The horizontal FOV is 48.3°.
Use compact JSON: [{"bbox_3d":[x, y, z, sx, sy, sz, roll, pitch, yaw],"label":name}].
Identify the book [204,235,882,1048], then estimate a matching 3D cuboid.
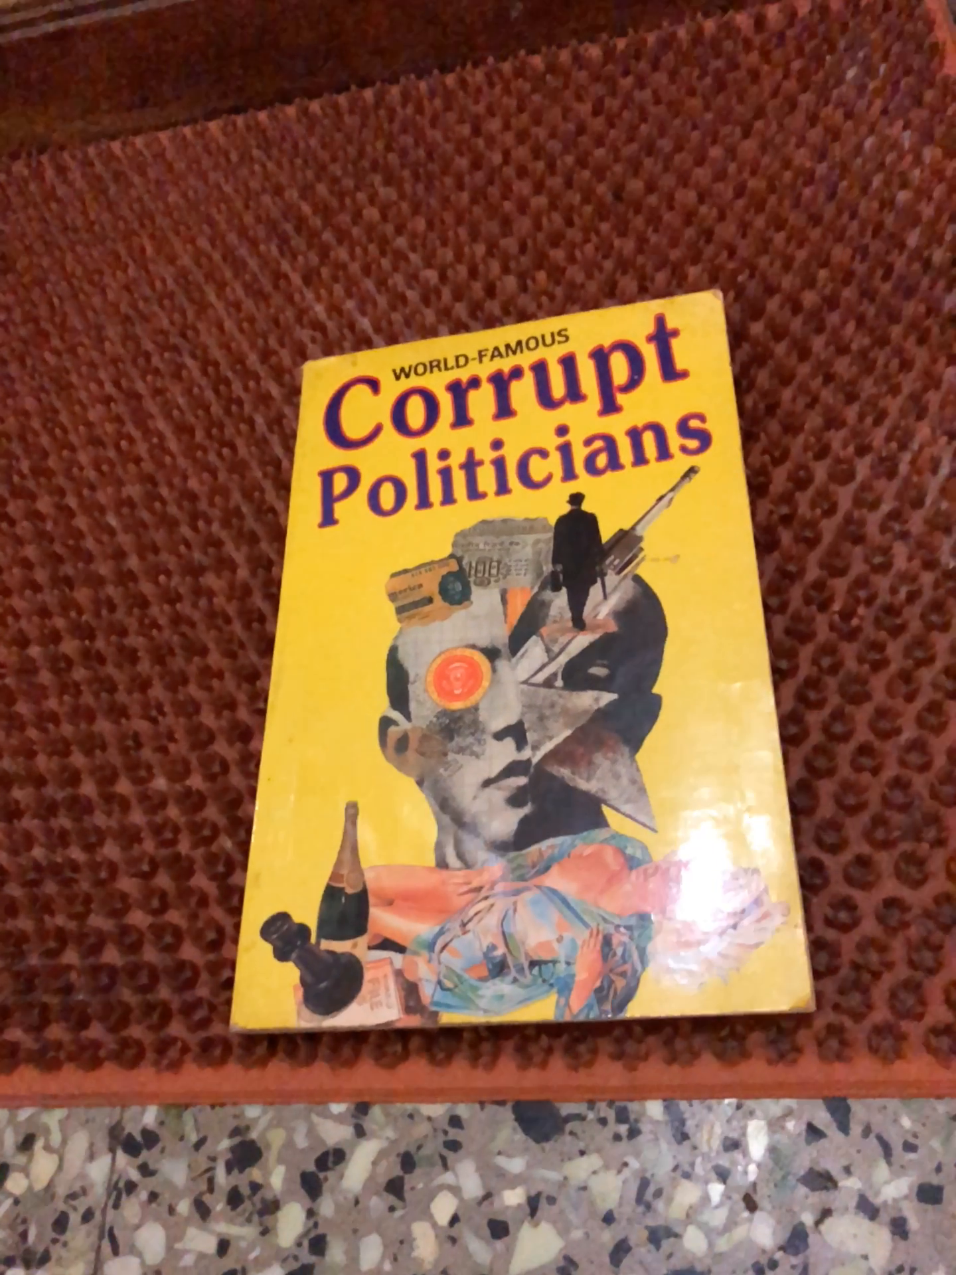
[{"bbox_3d":[0.011,-0.012,0.298,0.150,0.020,0.230,-6,61,10],"label":"book"}]
